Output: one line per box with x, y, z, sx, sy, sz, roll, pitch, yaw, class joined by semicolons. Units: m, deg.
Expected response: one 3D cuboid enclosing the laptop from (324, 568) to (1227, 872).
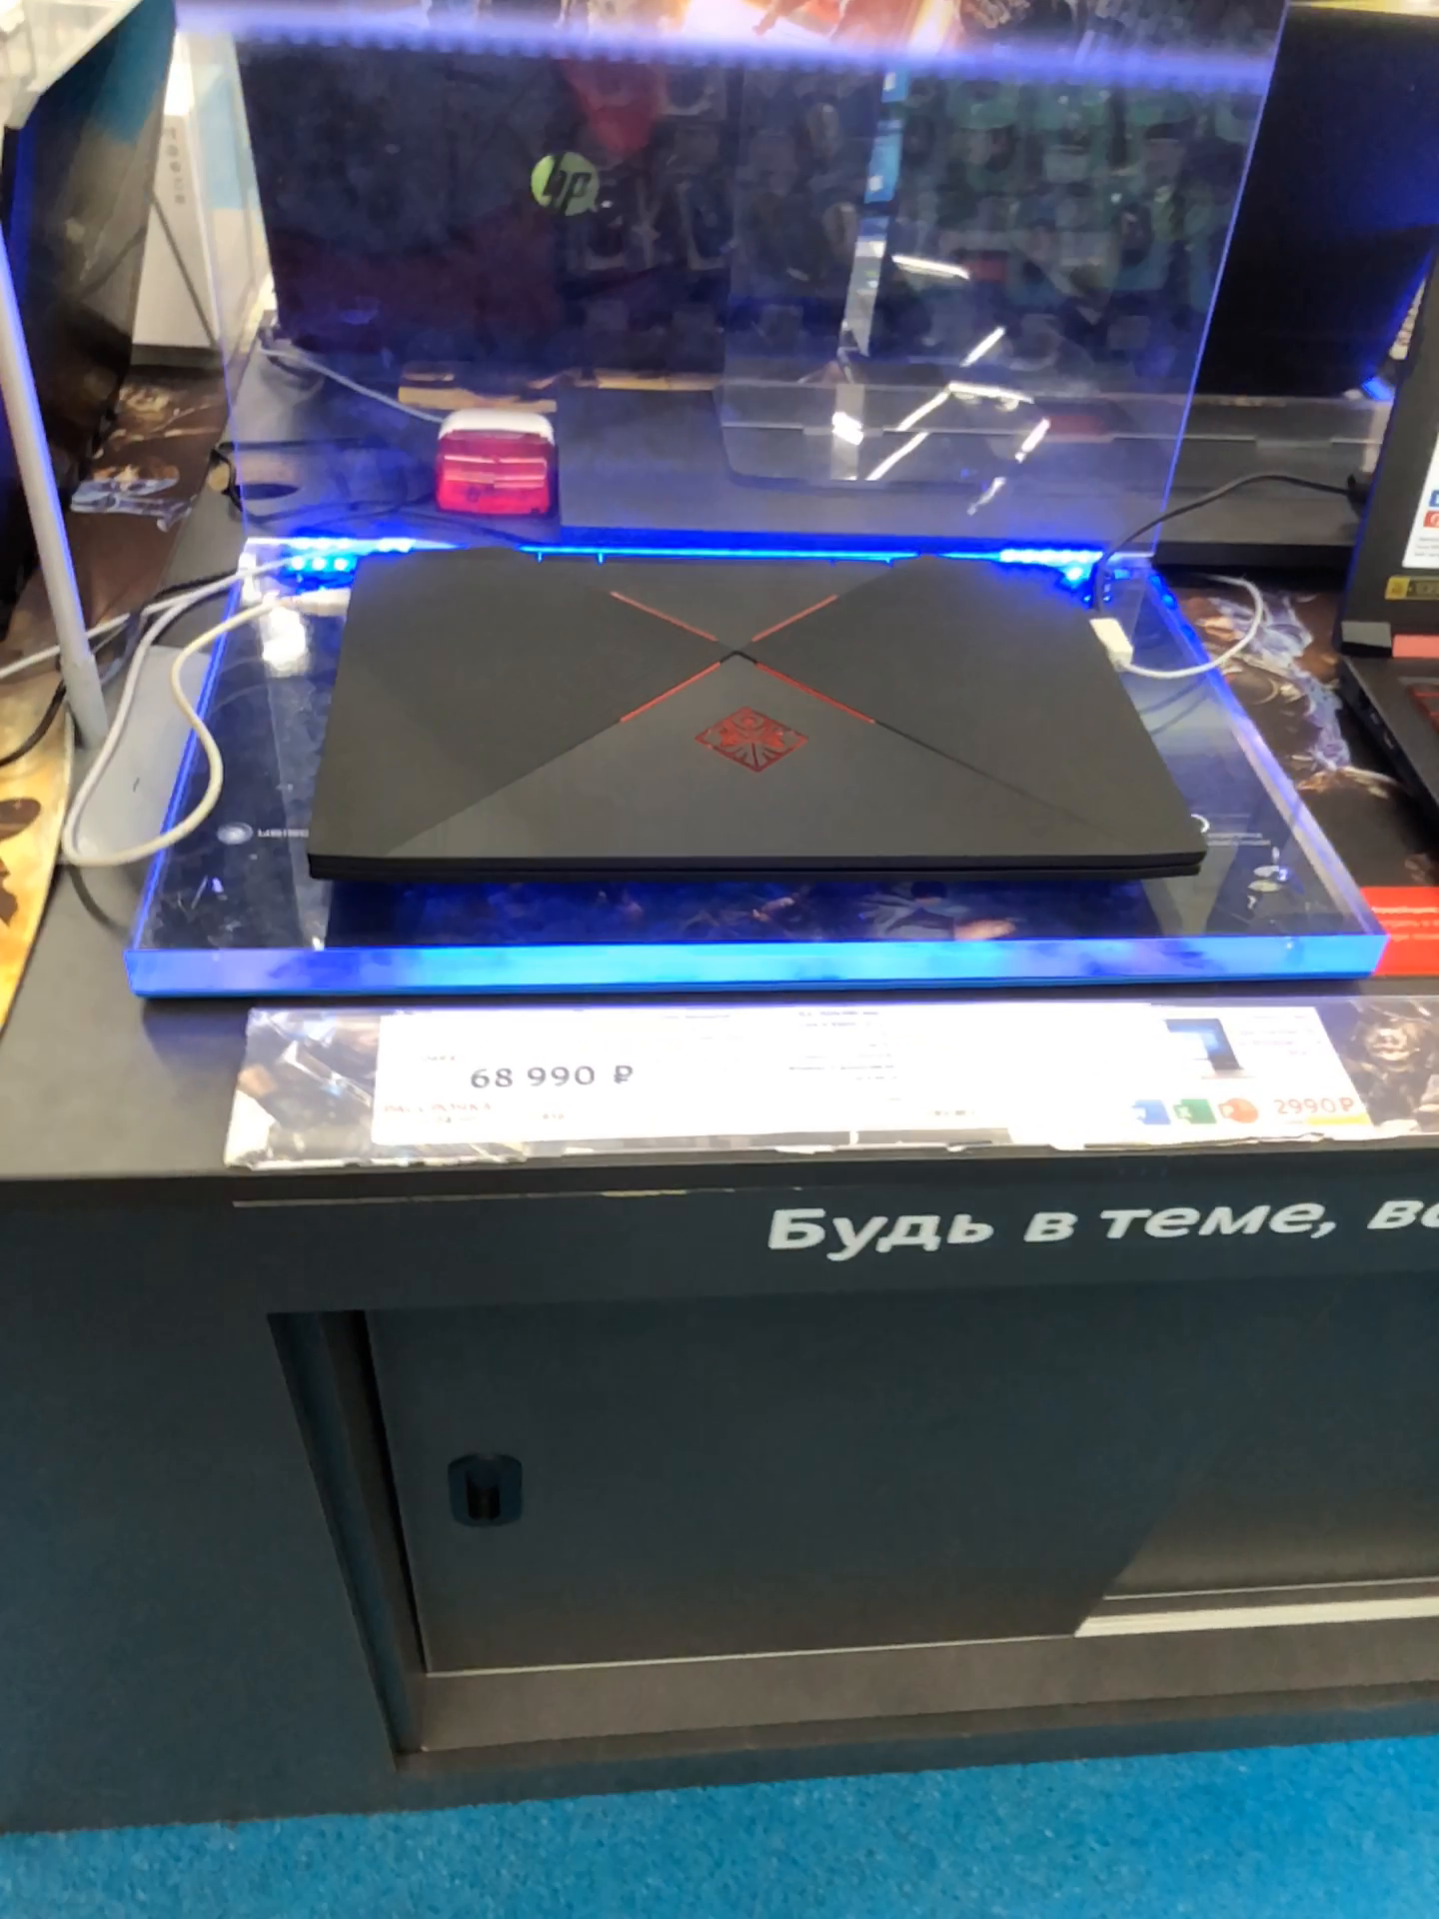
0.014;-0.113;0.699;0.349;0.003;0.238;-1;41;-5;laptop
